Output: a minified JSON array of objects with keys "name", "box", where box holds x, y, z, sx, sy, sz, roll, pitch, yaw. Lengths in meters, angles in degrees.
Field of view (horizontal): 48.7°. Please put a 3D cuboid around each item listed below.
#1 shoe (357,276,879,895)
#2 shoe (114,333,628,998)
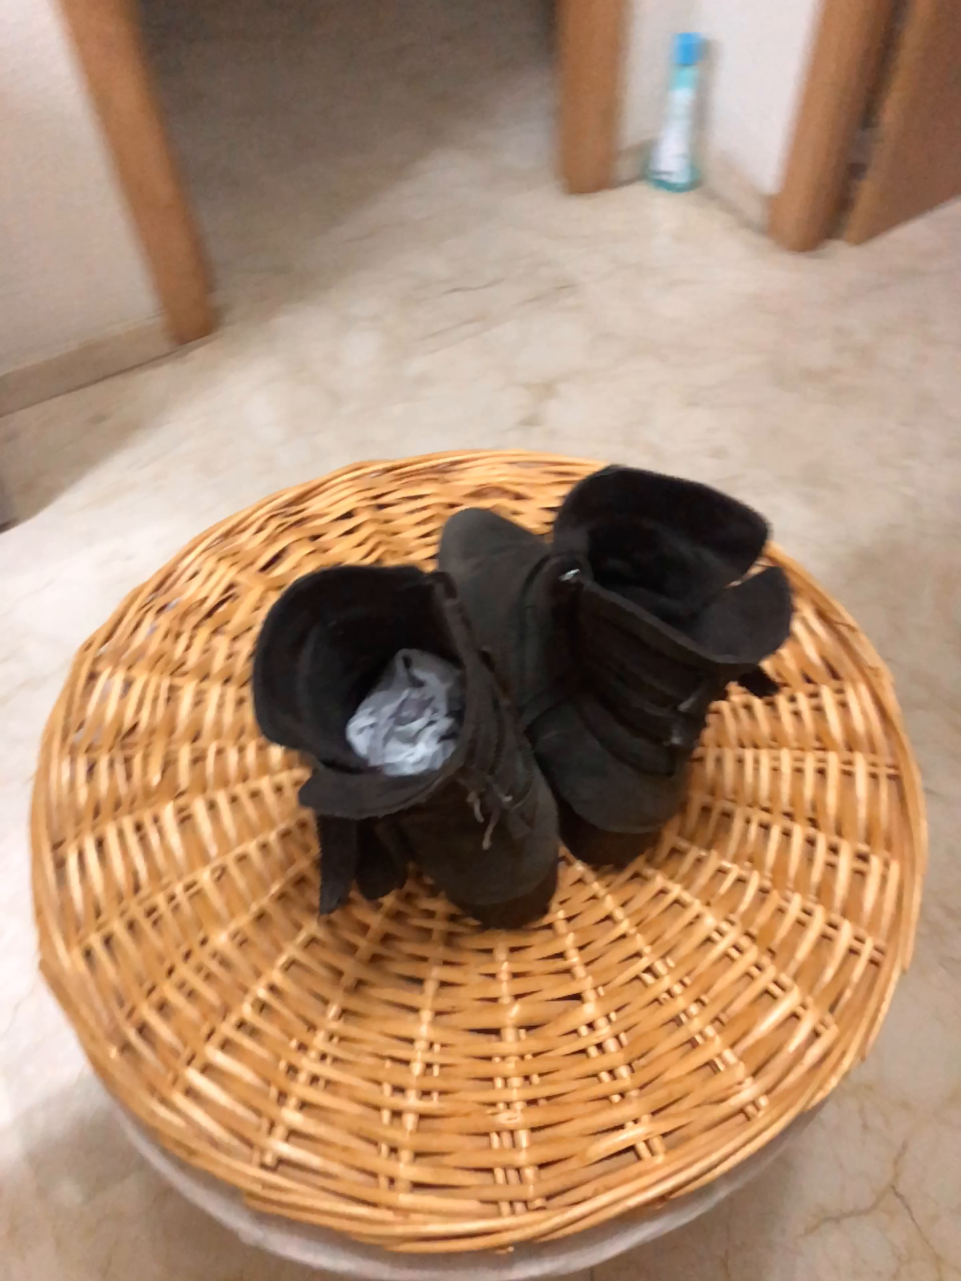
[{"name":"shoe","box":[0.046,-0.035,0.556,0.110,0.169,0.261,-23,57,-22]},{"name":"shoe","box":[-0.055,0.009,0.520,0.110,0.169,0.261,-28,59,-15]}]
